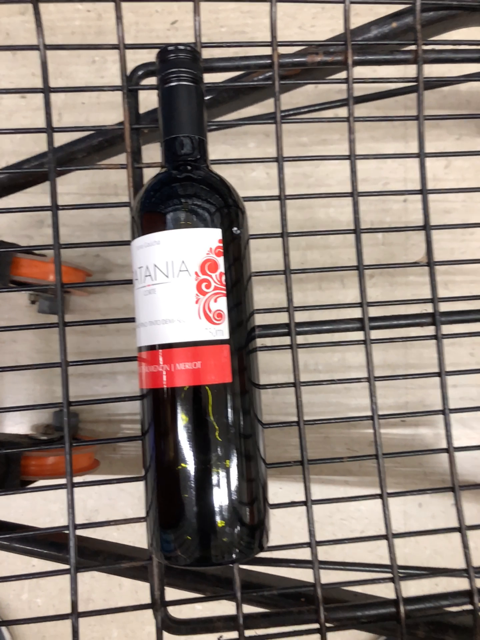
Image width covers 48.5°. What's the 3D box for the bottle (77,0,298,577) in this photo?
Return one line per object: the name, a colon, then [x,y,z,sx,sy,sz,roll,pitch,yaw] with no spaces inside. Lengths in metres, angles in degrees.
bottle: [-0.033,-0.024,0.313,0.080,0.070,0.300,-8,85,40]
